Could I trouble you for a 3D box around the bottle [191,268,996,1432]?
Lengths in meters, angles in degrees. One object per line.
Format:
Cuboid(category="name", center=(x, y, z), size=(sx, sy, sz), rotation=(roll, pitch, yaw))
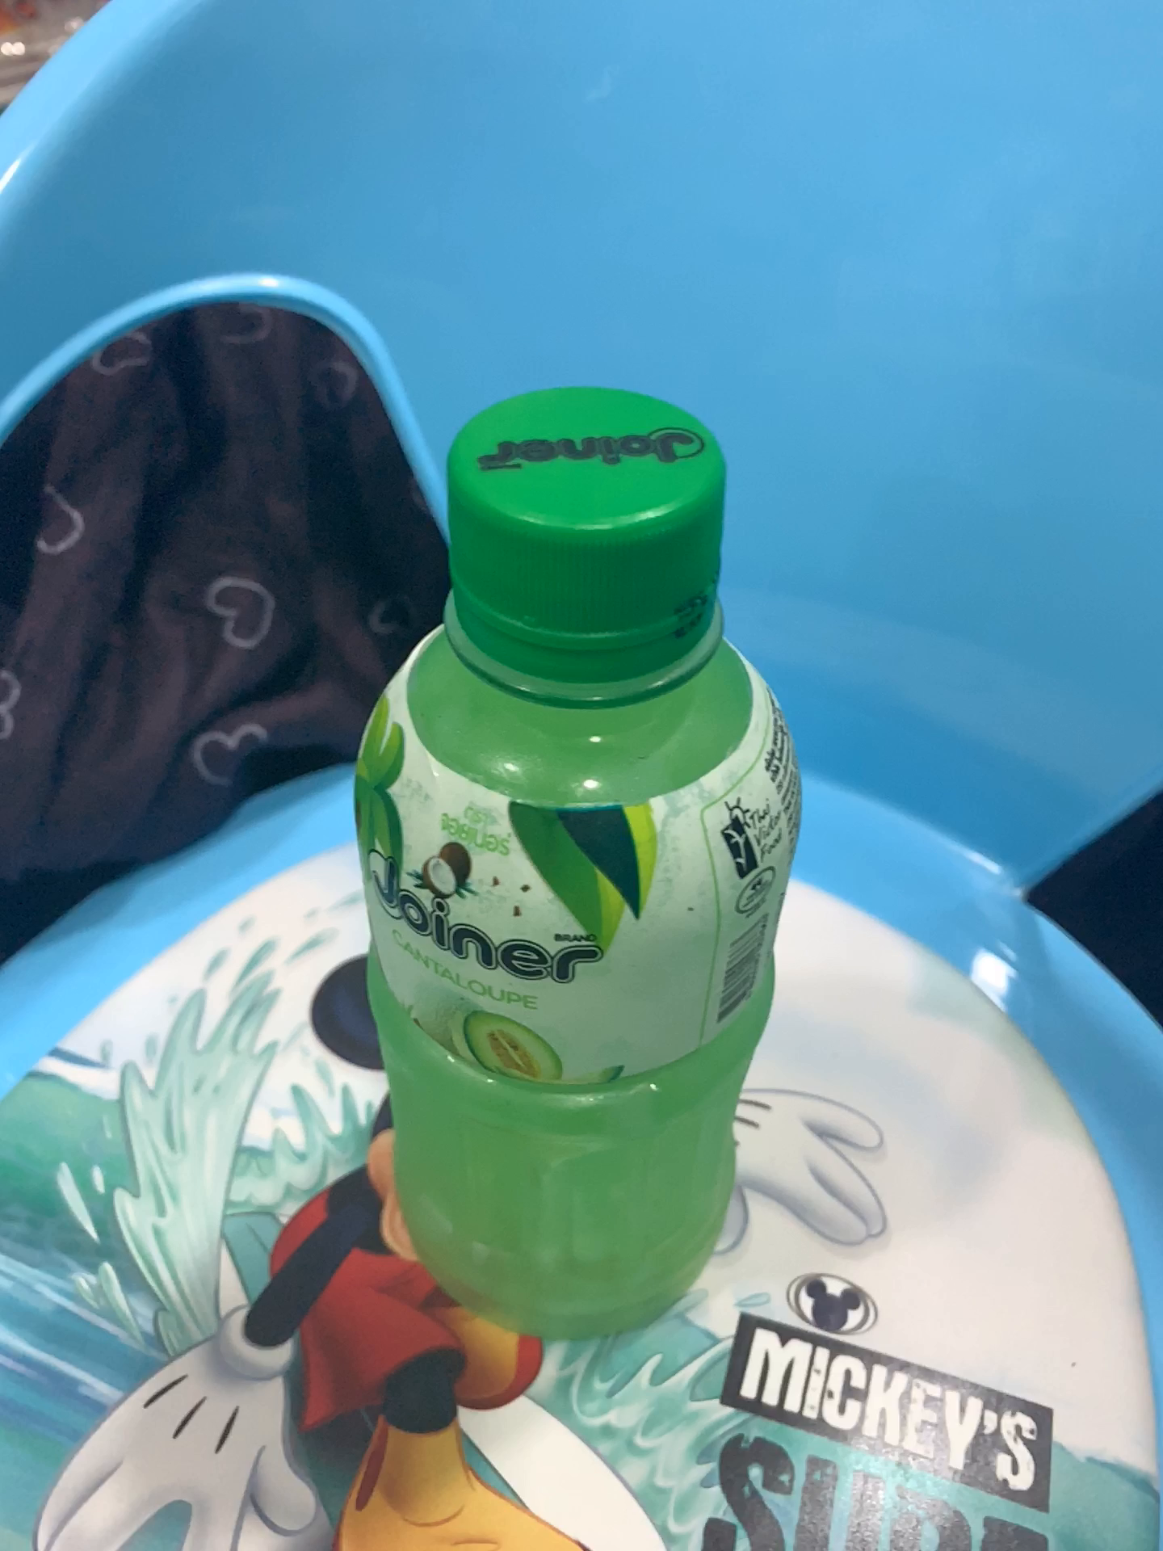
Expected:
Cuboid(category="bottle", center=(0.002, 0.017, 0.166), size=(0.060, 0.139, 0.060), rotation=(2, 40, -2))
